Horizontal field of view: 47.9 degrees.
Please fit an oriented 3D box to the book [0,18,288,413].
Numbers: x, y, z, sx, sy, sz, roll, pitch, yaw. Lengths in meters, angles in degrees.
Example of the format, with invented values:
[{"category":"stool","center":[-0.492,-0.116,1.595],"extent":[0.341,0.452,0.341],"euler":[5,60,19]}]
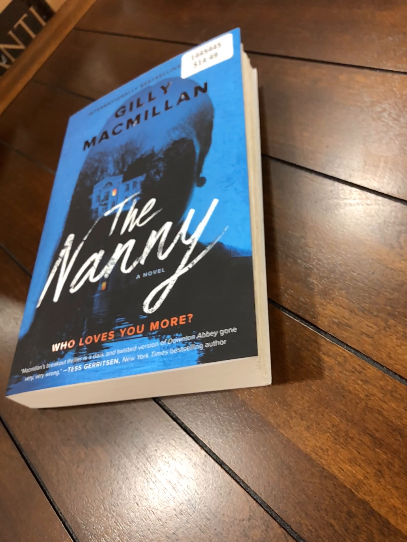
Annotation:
[{"category":"book","center":[-0.034,-0.039,0.289],"extent":[0.160,0.040,0.230],"euler":[-15,53,28]}]
